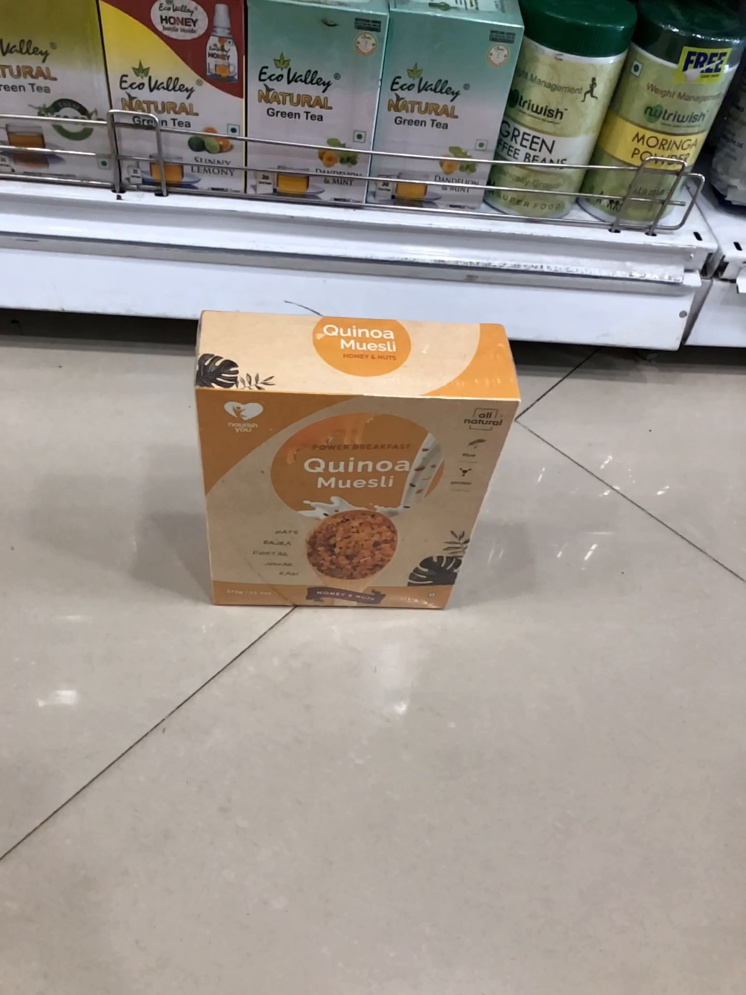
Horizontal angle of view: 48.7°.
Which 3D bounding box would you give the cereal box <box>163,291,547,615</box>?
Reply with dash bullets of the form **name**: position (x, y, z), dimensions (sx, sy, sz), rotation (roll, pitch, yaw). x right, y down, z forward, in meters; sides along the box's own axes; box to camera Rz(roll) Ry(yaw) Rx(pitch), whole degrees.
- **cereal box**: position (-0.018, -0.011, 0.460), dimensions (0.170, 0.199, 0.060), rotation (2, 53, -7)
